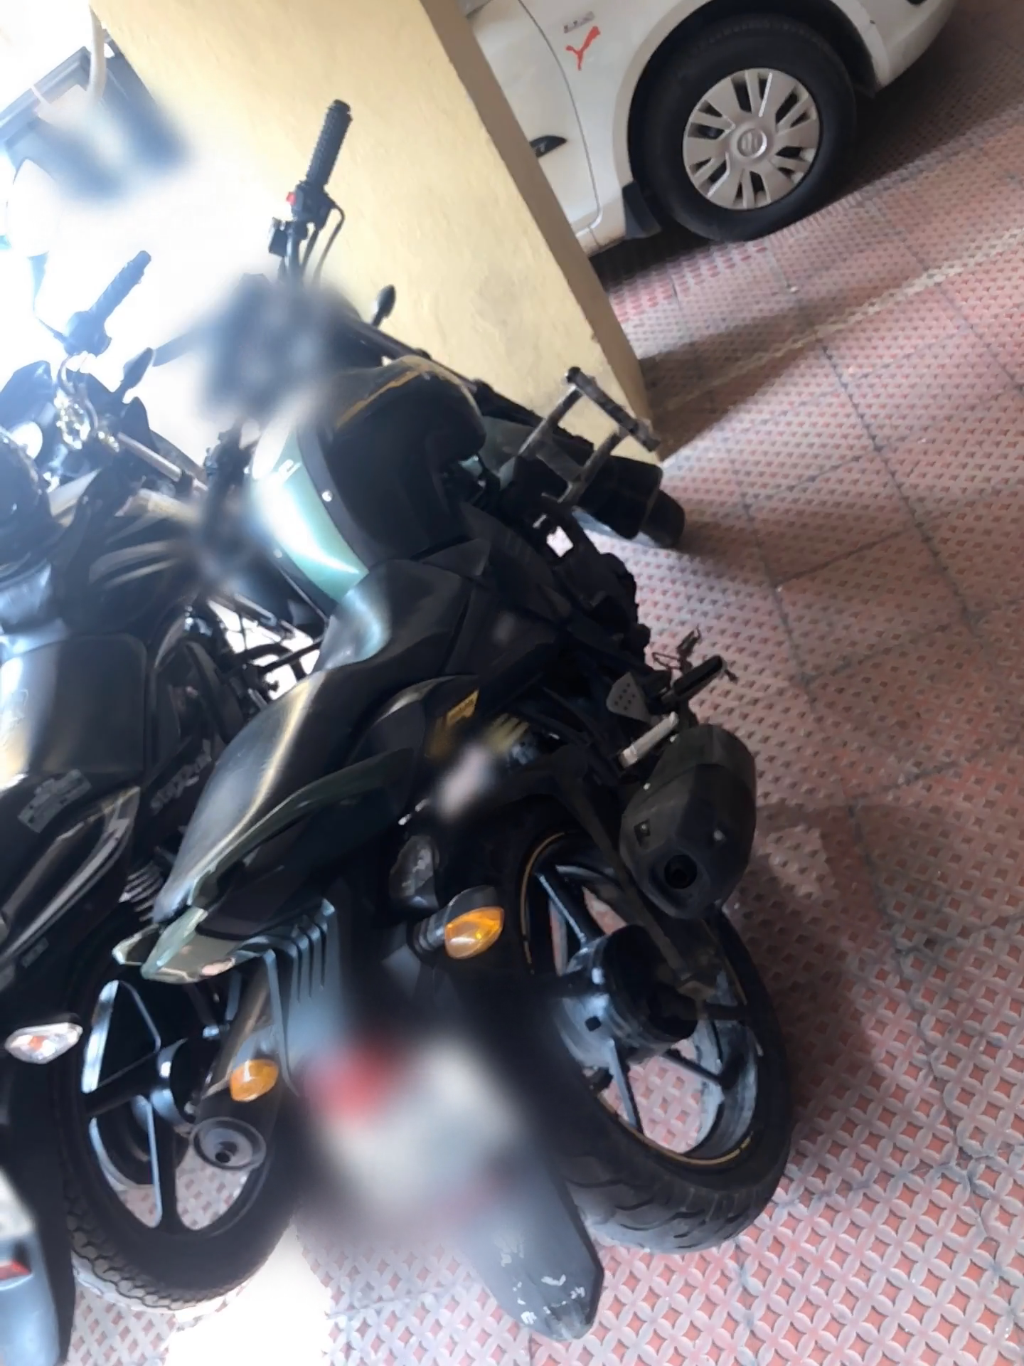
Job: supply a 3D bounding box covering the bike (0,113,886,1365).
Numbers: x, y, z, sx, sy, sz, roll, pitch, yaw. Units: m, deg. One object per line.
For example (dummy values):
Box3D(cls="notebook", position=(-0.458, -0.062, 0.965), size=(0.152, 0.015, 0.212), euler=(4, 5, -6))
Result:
Box3D(cls="bike", position=(-0.241, -0.059, 1.816), size=(0.738, 1.090, 1.818), euler=(-27, 34, 13))
